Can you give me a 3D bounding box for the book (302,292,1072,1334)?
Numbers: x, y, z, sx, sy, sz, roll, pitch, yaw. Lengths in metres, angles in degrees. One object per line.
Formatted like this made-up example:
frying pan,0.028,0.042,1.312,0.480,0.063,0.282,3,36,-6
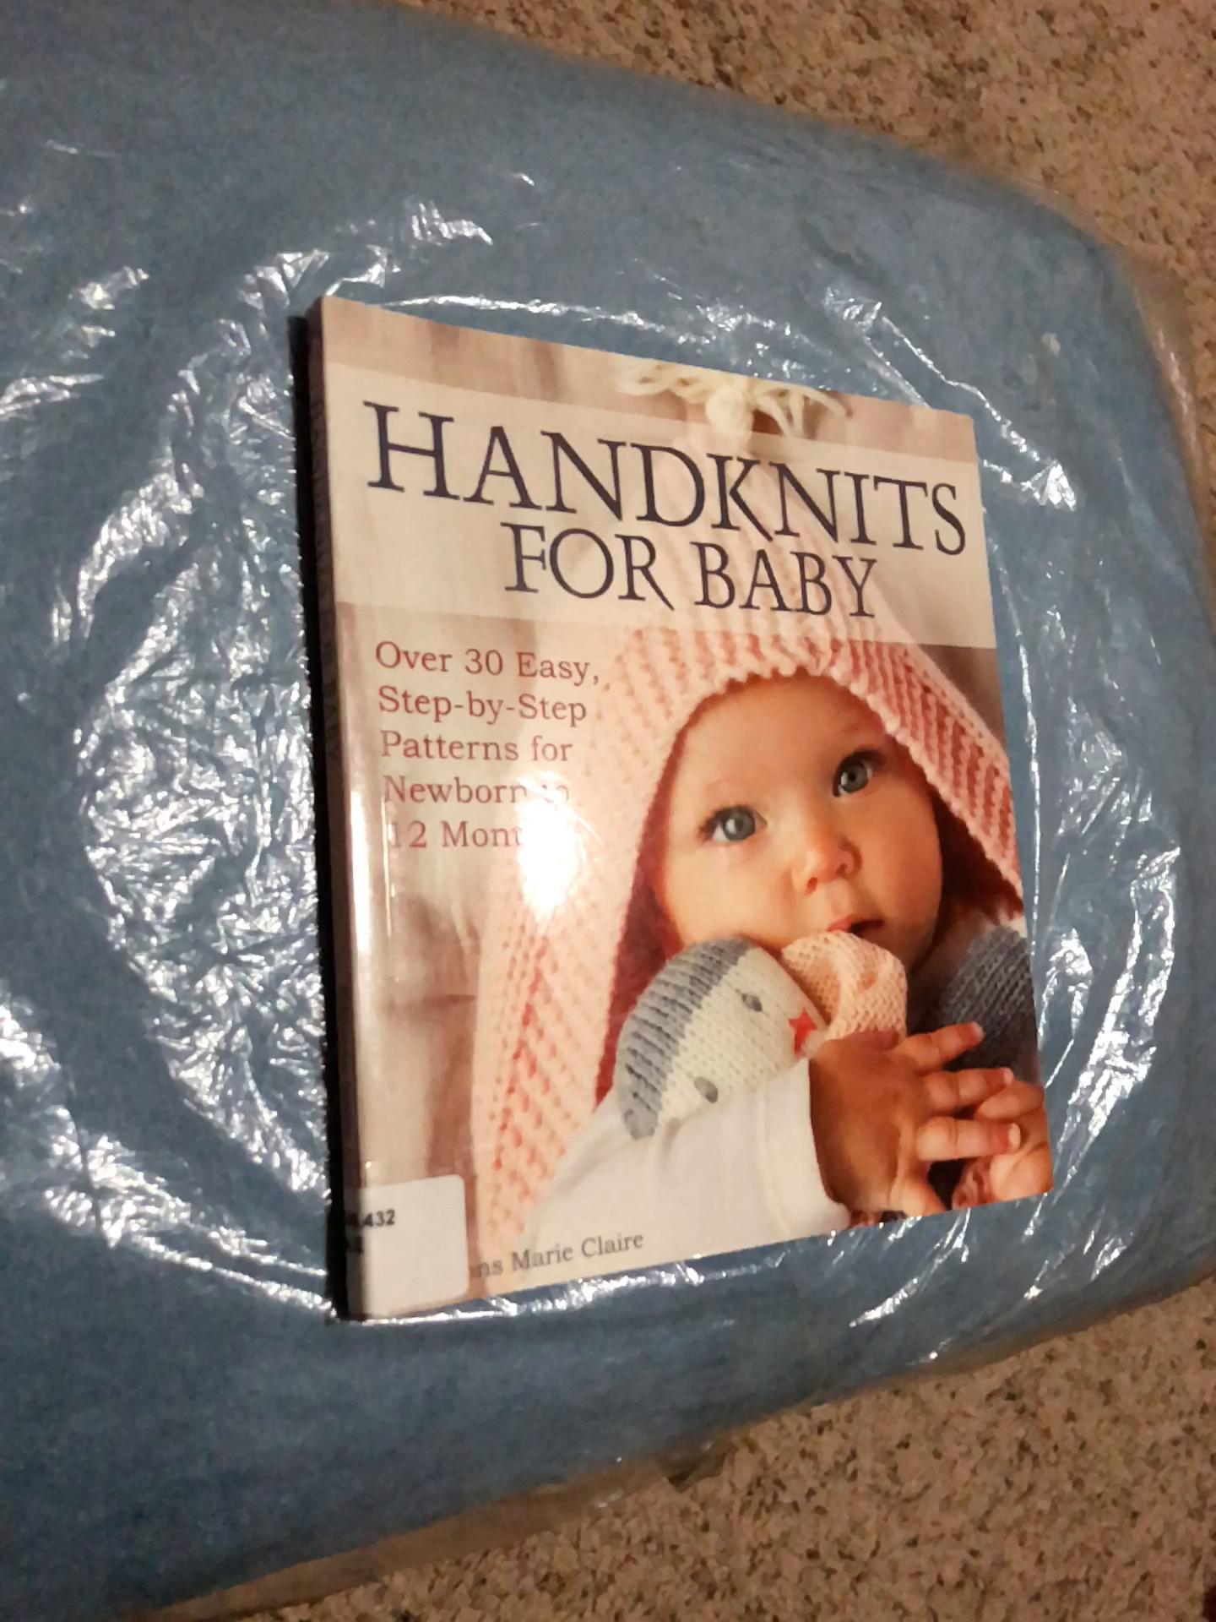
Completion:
book,0.028,-0.003,0.338,0.197,0.020,0.220,0,83,-28
